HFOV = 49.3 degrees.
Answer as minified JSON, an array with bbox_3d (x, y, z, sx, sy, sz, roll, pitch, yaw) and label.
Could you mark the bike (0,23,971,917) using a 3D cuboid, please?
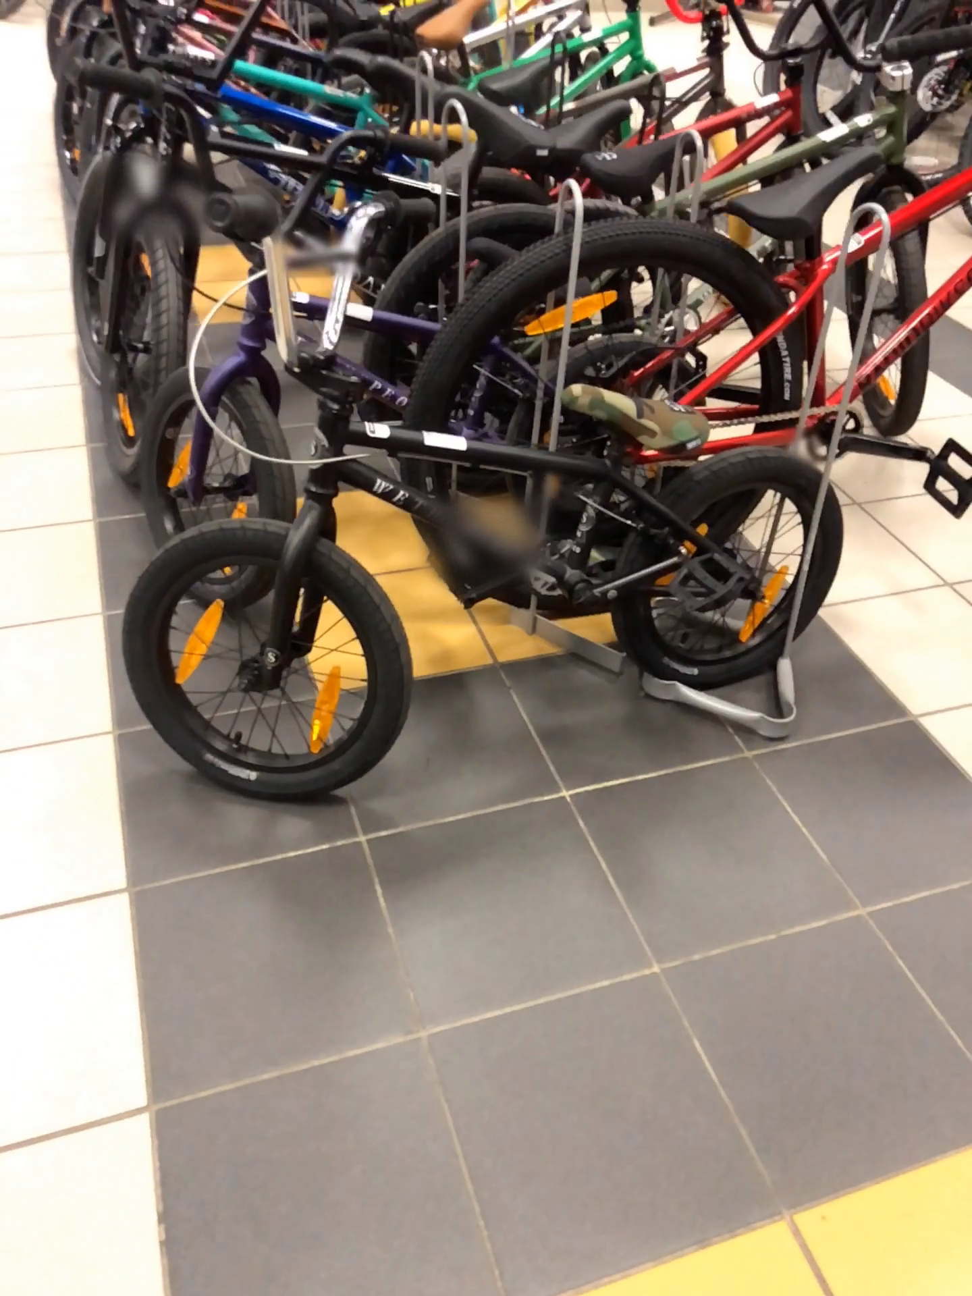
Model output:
[{"bbox_3d":[0.061,-0.255,1.384,1.072,0.809,0.679,-5,38,-15],"label":"bike"}]
